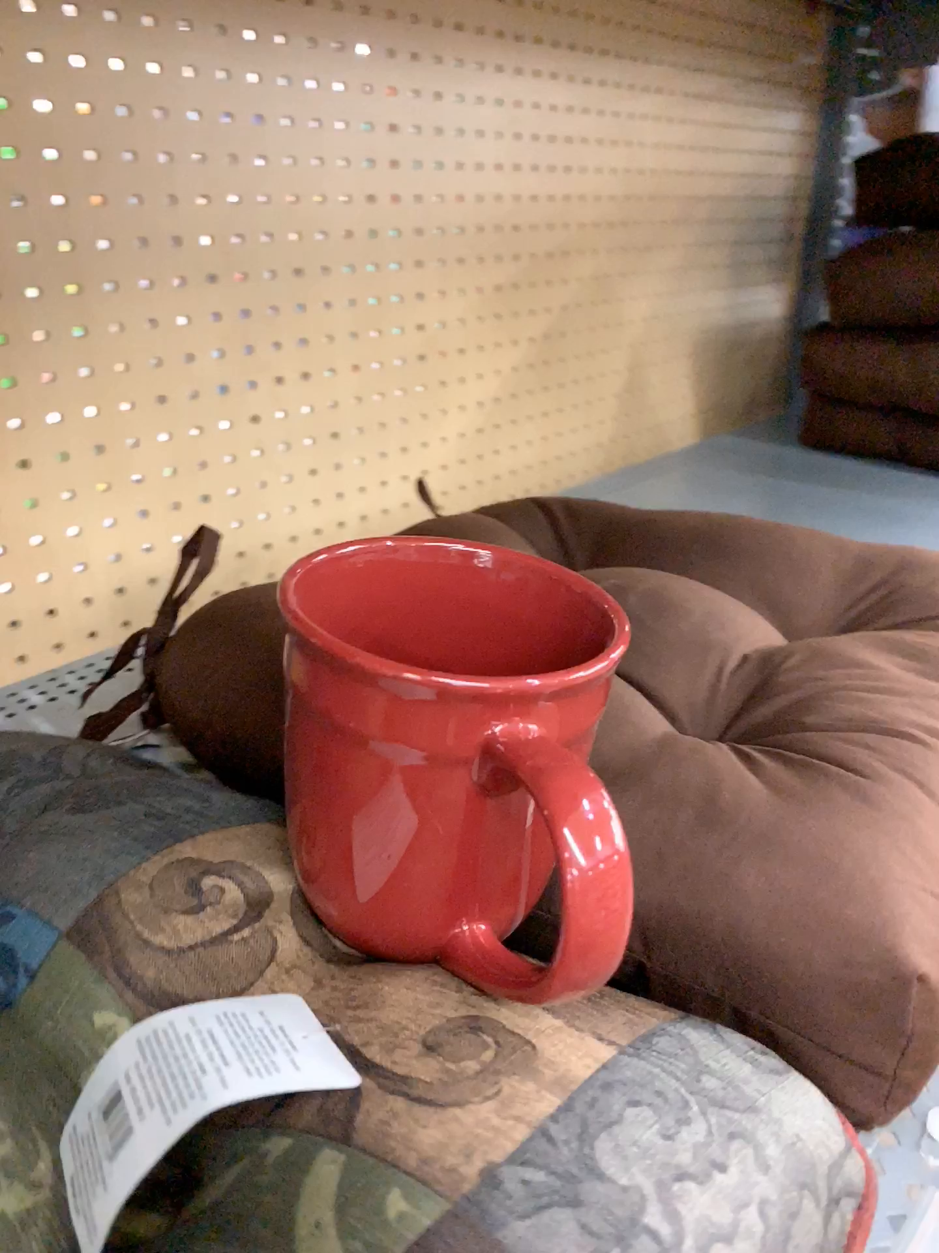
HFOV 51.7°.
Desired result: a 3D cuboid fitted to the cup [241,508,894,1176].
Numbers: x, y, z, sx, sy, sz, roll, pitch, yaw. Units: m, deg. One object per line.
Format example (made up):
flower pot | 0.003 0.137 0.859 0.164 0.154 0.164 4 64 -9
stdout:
cup | 0.007 0.036 0.261 0.100 0.090 0.151 -4 27 -26
